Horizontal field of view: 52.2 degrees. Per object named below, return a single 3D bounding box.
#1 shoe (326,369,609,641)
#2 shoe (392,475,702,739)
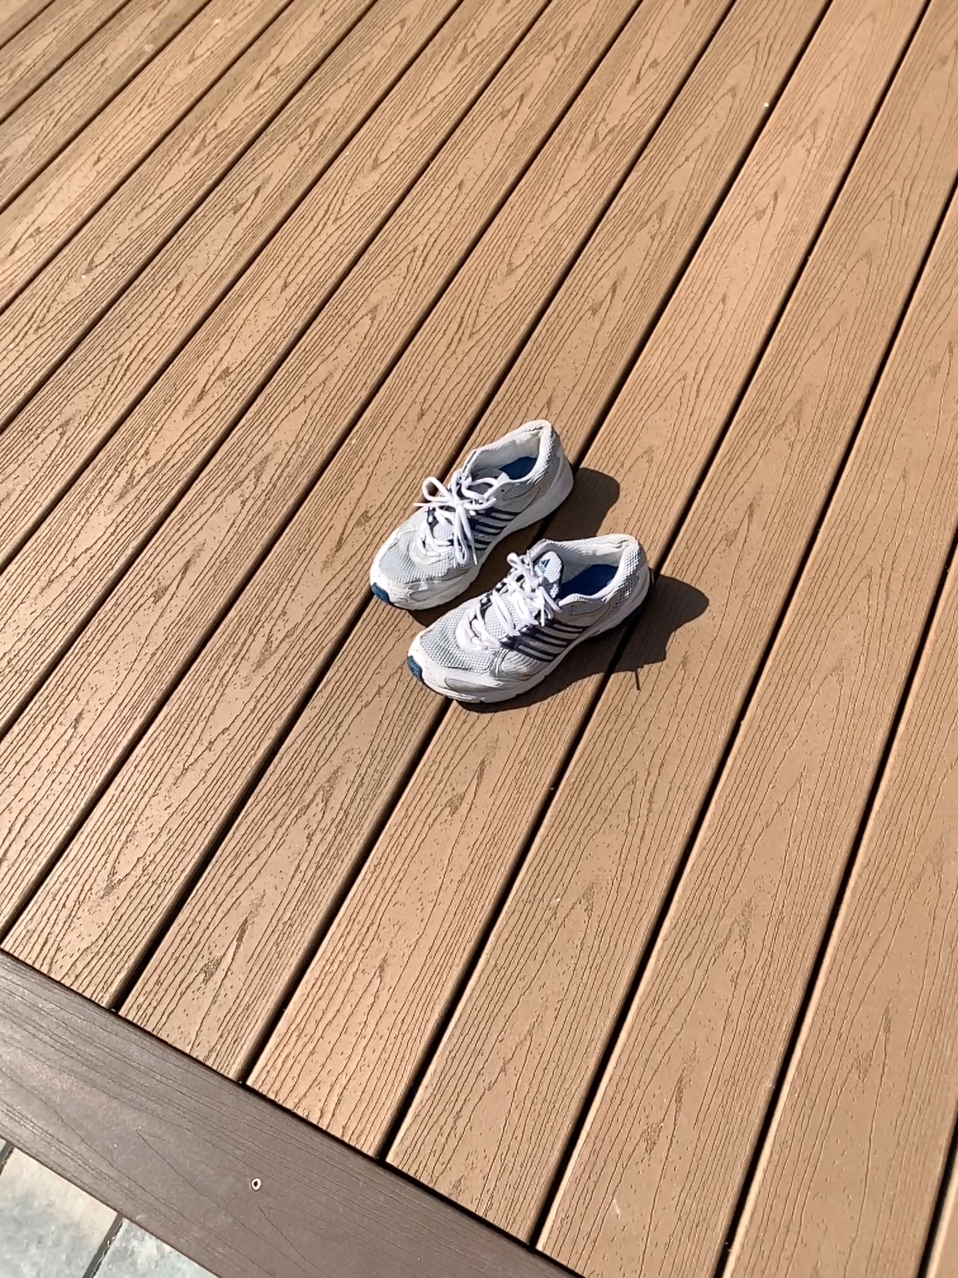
[{"bbox_3d":[-0.006,-0.152,1.089,0.300,0.100,0.120,-40,66,-15],"label":"shoe"},{"bbox_3d":[0.072,-0.034,1.021,0.290,0.100,0.120,-29,63,-10],"label":"shoe"}]
